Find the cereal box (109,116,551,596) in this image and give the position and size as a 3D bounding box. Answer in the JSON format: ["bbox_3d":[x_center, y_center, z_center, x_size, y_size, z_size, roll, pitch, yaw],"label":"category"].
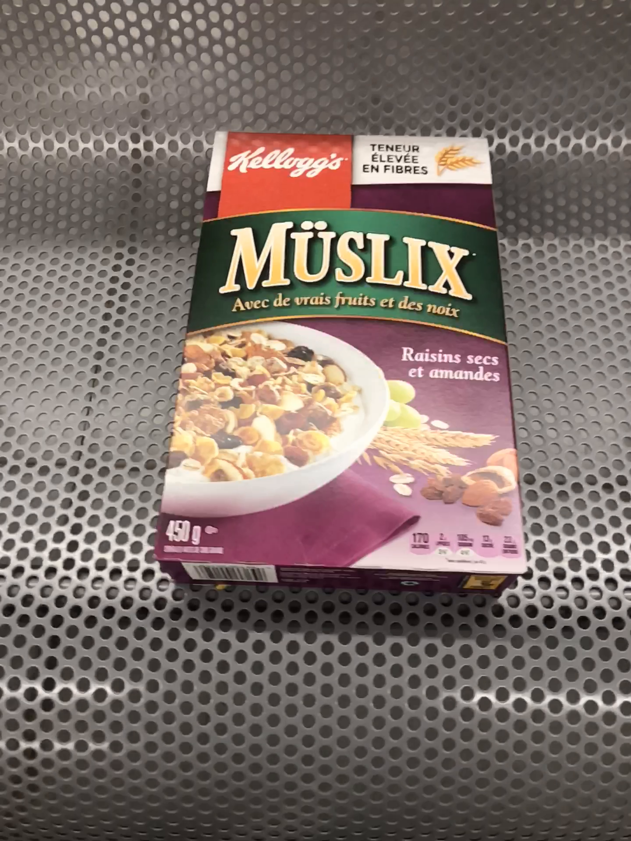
[{"bbox_3d":[0.010,-0.047,0.364,0.180,0.050,0.261,1,63,2],"label":"cereal box"}]
